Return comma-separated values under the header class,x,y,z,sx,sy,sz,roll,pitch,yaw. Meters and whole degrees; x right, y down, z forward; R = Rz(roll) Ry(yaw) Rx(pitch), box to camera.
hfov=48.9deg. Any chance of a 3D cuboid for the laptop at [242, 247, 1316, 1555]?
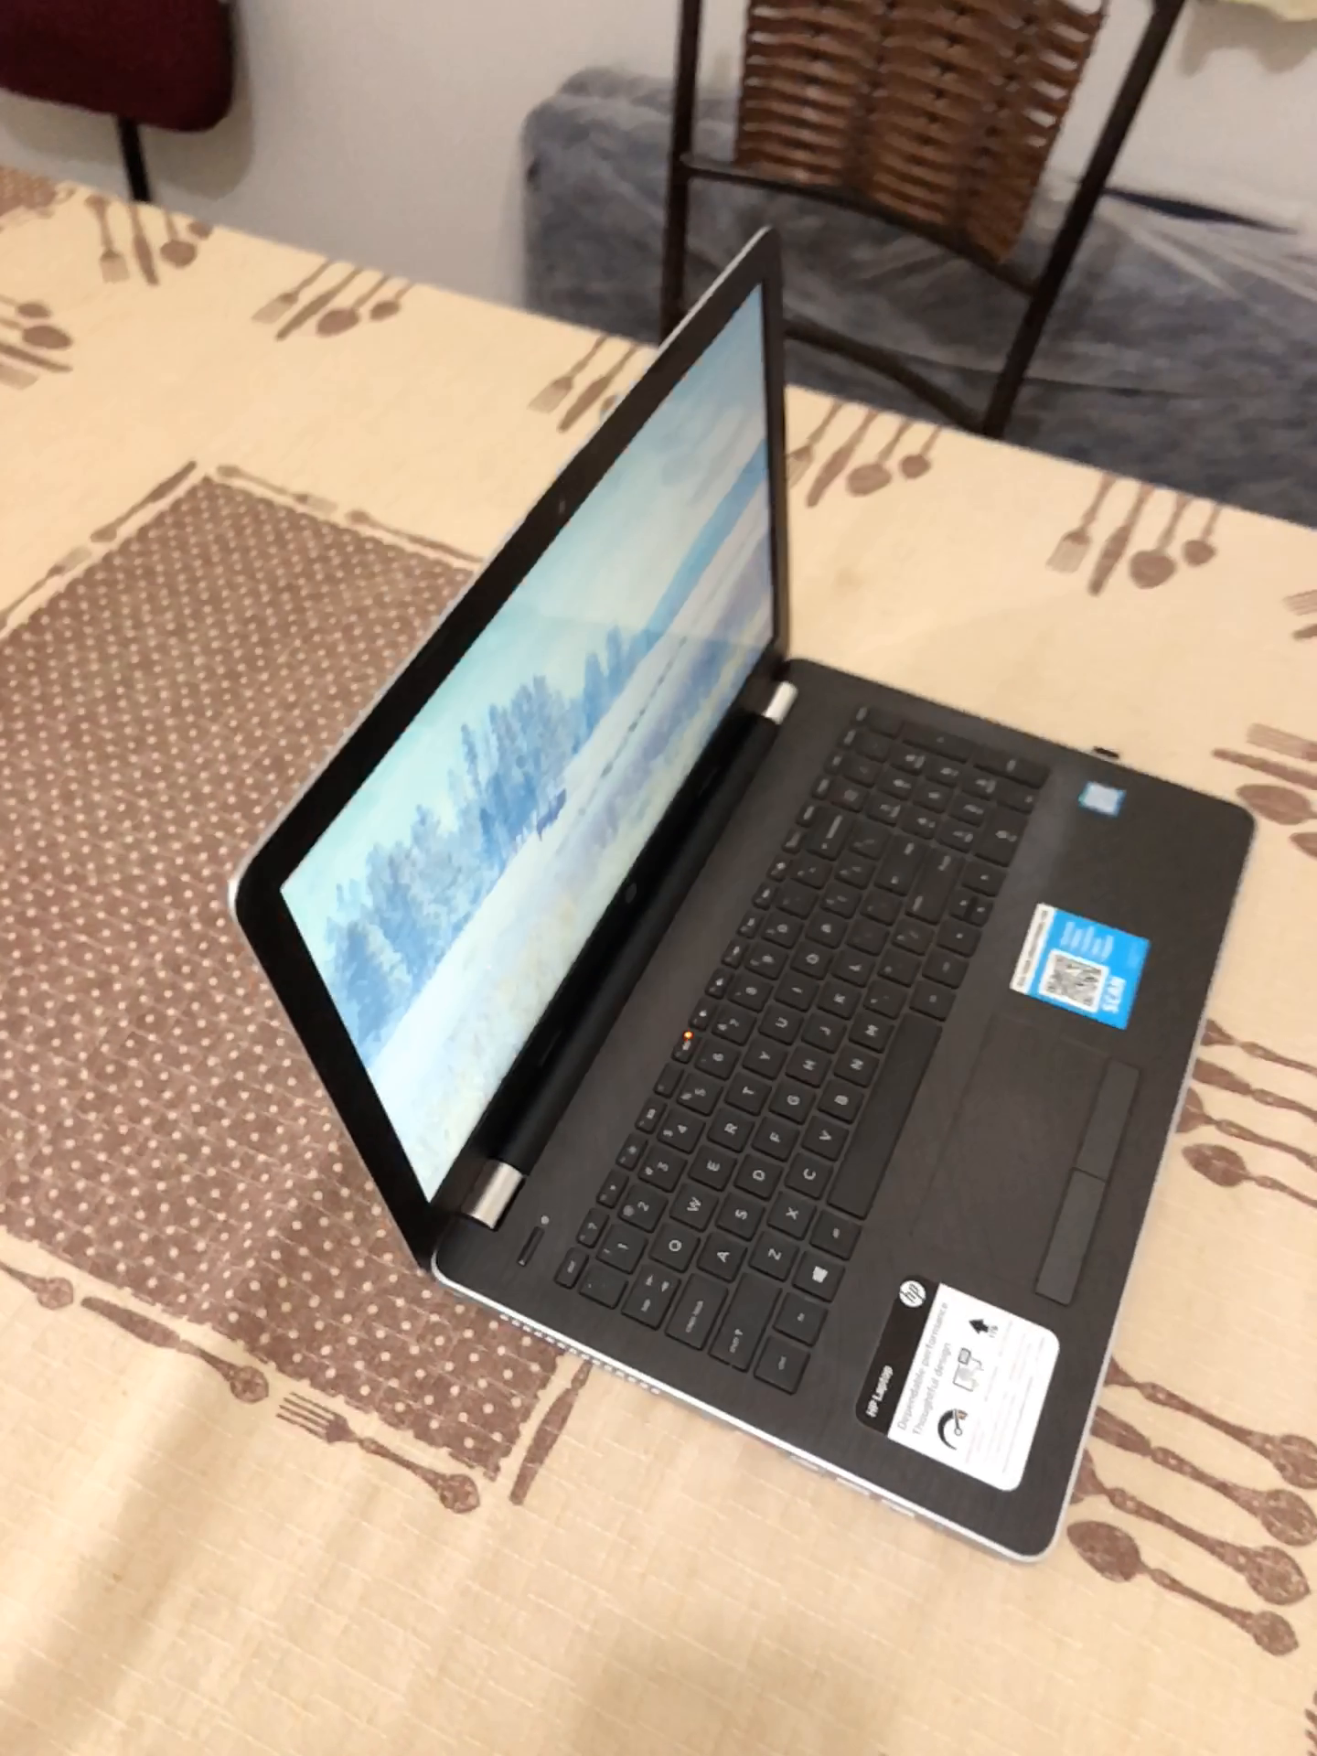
class,x,y,z,sx,sy,sz,roll,pitch,yaw
laptop,0.089,-0.011,0.533,0.268,0.226,0.361,21,55,15
